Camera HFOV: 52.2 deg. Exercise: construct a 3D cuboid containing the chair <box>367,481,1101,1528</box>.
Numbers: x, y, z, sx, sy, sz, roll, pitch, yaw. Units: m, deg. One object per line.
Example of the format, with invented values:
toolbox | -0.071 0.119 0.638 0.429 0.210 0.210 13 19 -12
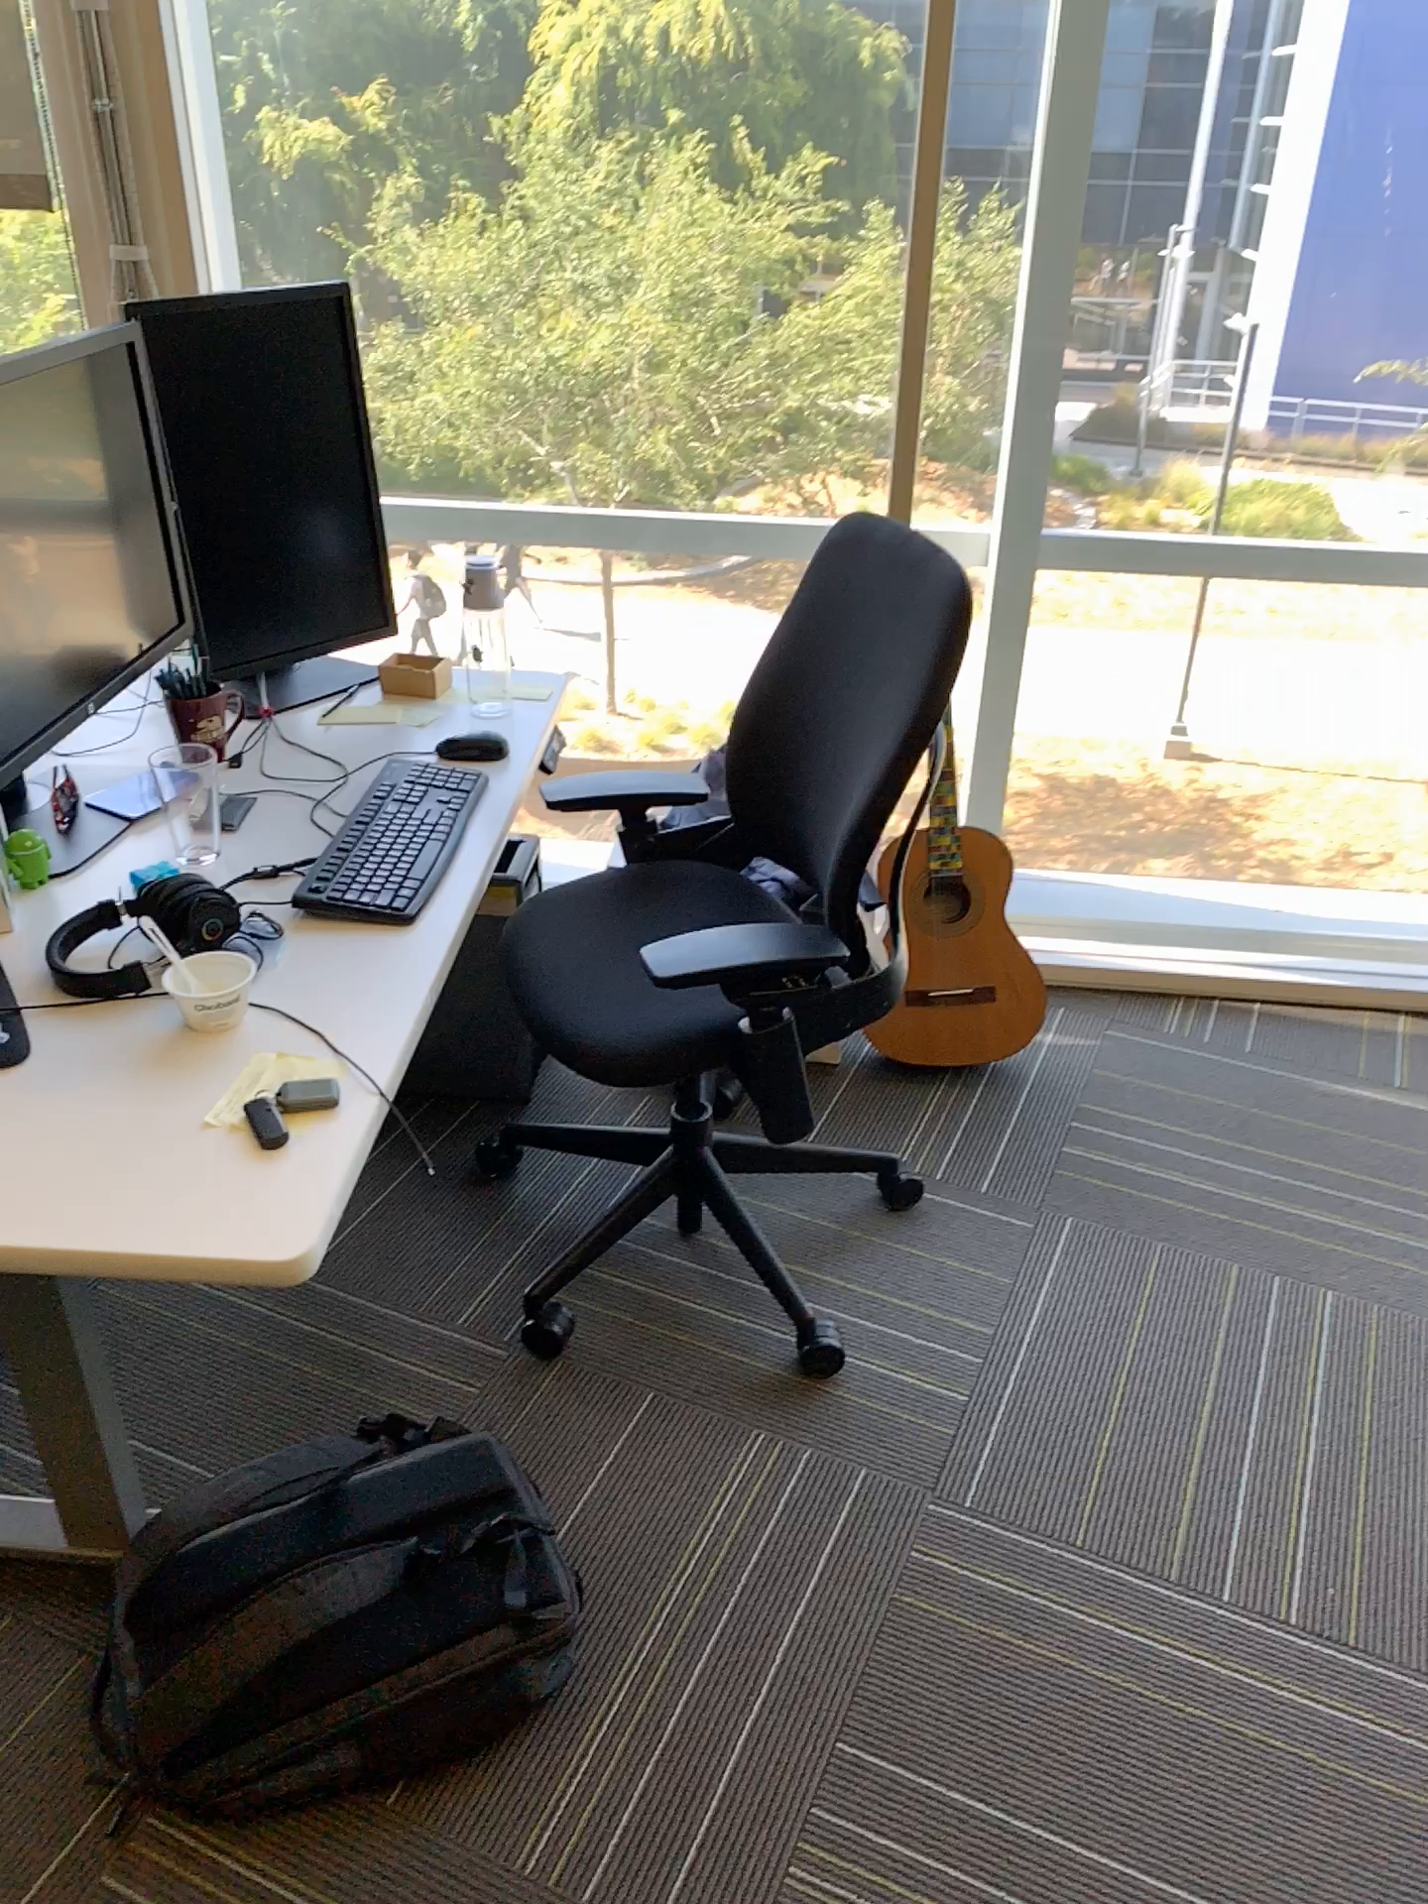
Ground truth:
chair | -0.026 0.039 2.131 0.690 1.223 0.714 -11 32 -21
